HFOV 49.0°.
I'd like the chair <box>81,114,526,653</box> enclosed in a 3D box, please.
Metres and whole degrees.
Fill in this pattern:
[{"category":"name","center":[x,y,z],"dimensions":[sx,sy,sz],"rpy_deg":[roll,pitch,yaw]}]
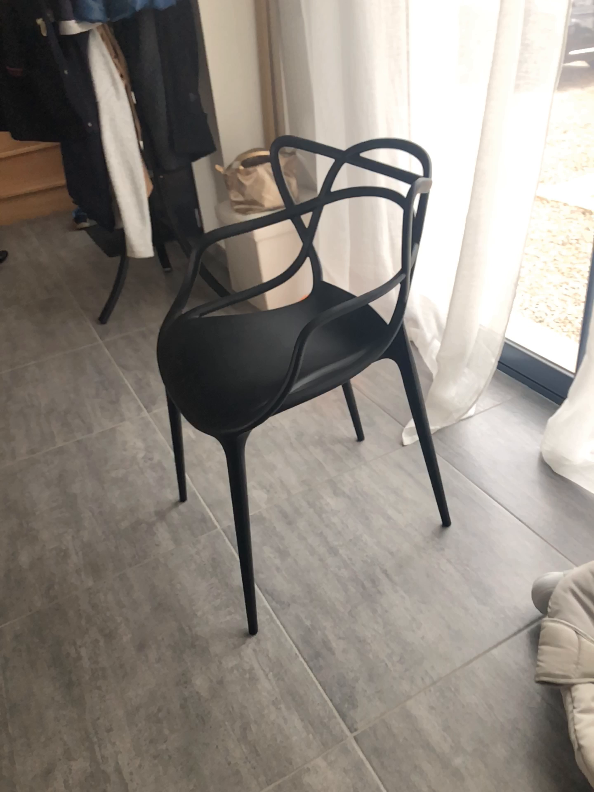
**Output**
[{"category":"chair","center":[0.011,-0.068,1.333],"dimensions":[0.587,0.795,0.564],"rpy_deg":[-19,34,-18]}]
